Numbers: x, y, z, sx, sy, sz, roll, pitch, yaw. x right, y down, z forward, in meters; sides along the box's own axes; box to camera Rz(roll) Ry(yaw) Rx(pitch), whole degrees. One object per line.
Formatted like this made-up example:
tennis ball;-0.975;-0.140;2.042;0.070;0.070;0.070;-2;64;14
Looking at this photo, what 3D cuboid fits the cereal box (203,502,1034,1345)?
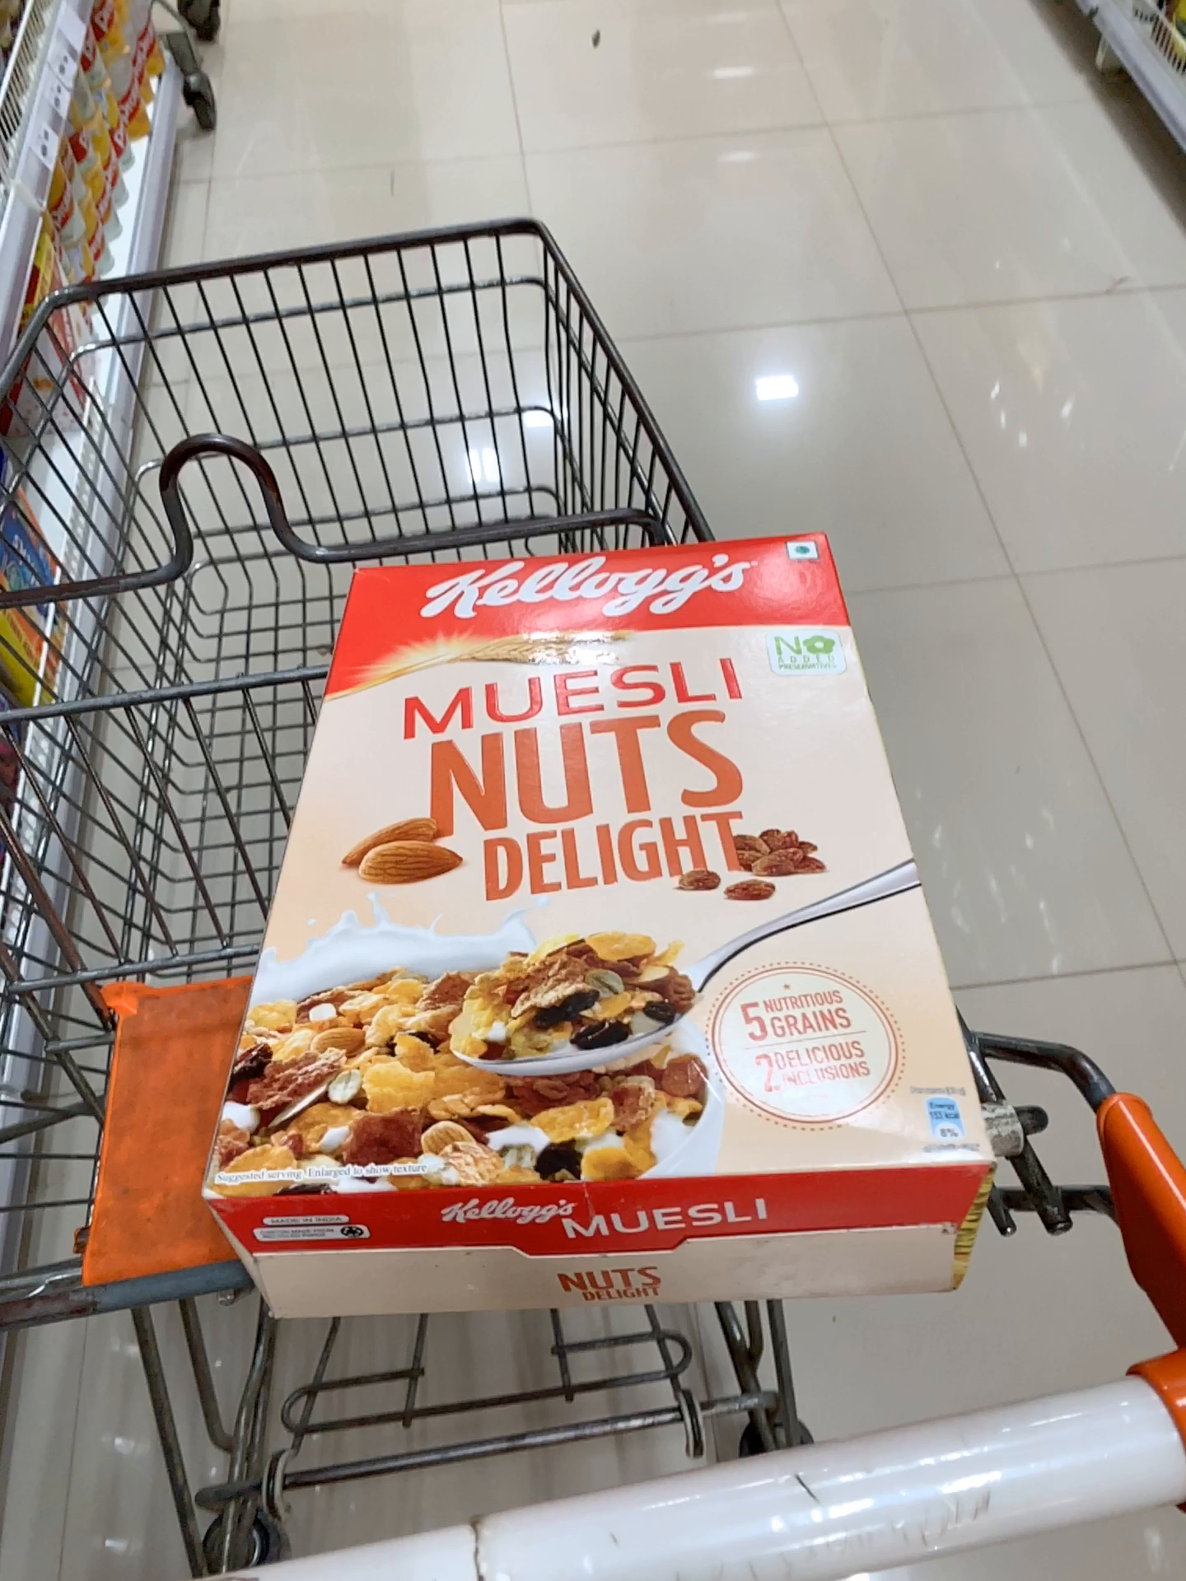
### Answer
cereal box;0.003;0.022;0.400;0.190;0.079;0.272;-3;47;1
